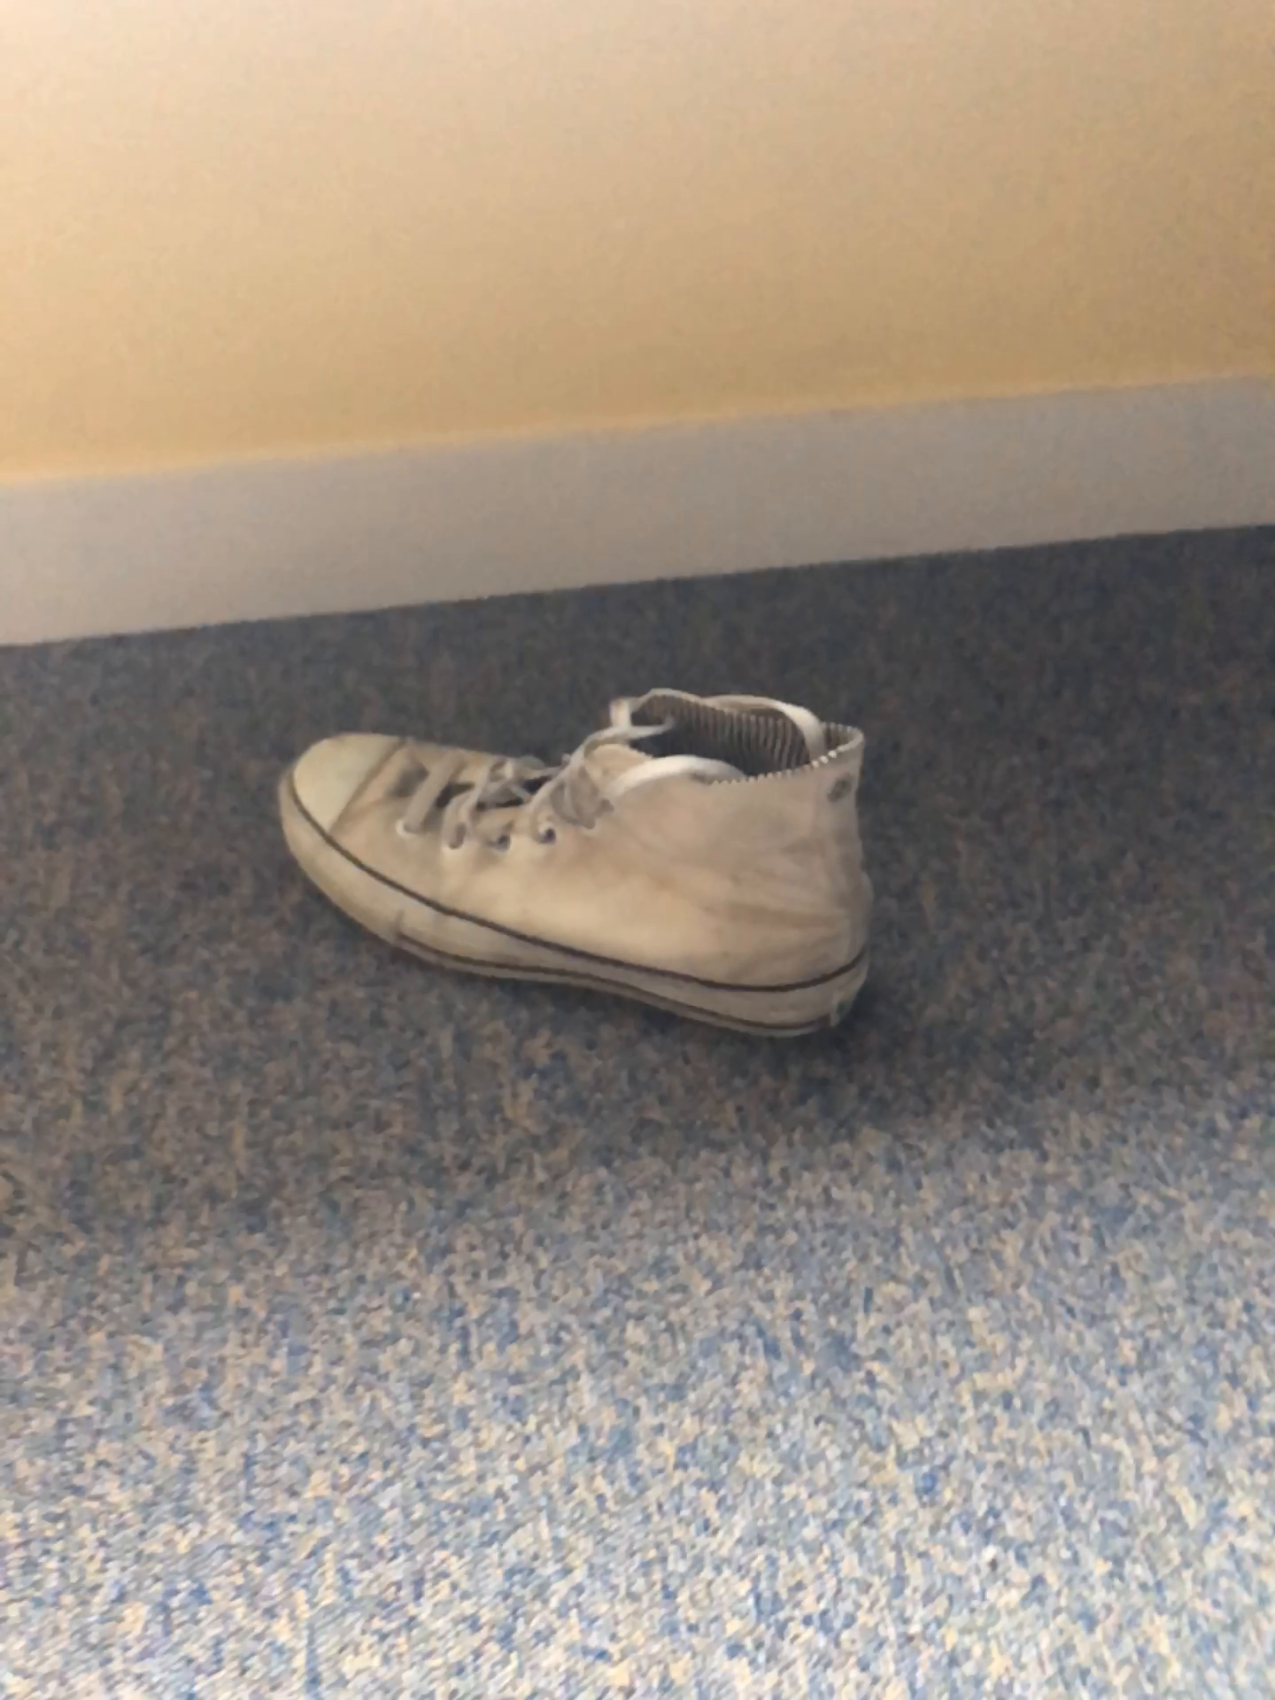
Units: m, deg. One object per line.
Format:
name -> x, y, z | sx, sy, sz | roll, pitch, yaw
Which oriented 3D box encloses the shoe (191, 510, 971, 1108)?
shoe -> -0.019, -0.018, 0.537 | 0.250, 0.139, 0.101 | 15, 48, 14
